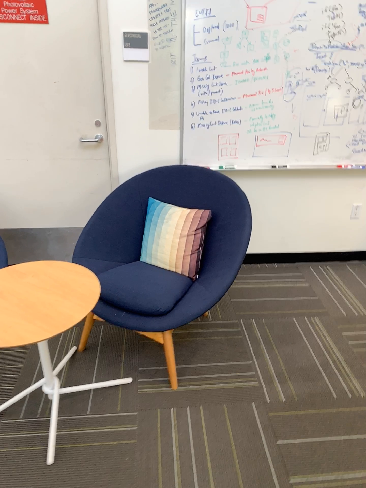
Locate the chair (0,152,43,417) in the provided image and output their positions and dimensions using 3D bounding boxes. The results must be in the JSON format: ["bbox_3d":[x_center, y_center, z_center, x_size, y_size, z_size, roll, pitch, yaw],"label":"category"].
[{"bbox_3d":[-1.376,0.096,1.879,0.842,0.835,0.792,18,32,29],"label":"chair"}]

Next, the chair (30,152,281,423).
[{"bbox_3d":[-0.100,0.117,2.093,0.833,0.944,0.983,19,33,31],"label":"chair"}]
